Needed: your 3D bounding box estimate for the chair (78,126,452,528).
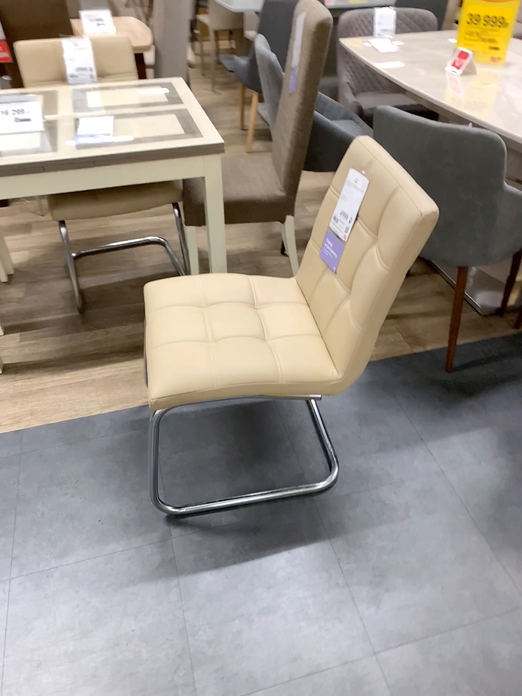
[{"bbox_3d":[-0.022,-0.049,1.376,0.650,0.816,0.533,-6,39,-7],"label":"chair"}]
